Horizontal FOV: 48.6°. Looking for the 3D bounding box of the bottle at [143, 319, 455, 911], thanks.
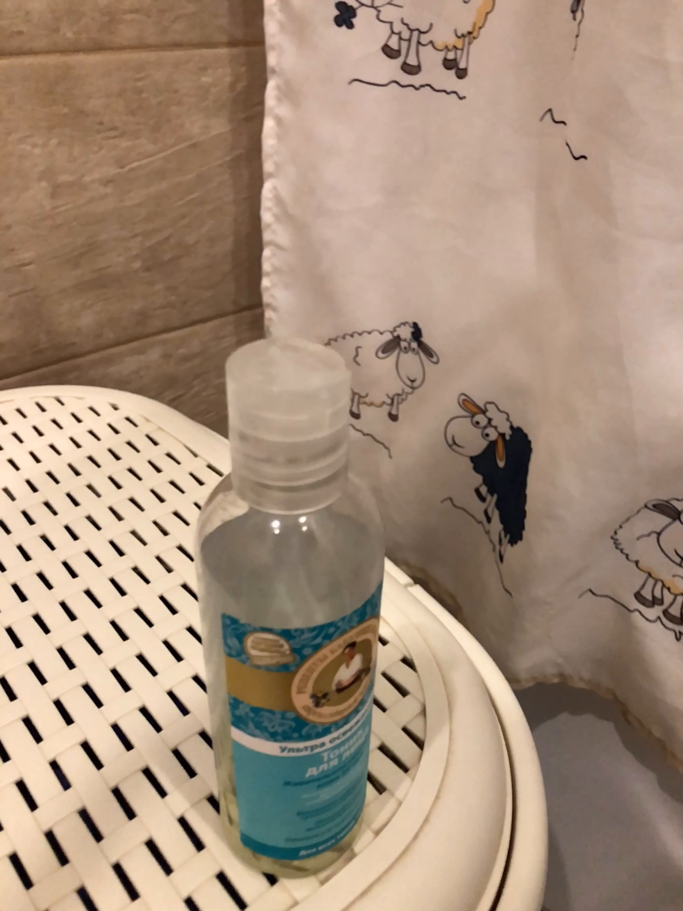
[{"bbox_3d":[-0.013,0.048,0.197,0.046,0.153,0.045,2,34,-2],"label":"bottle"}]
